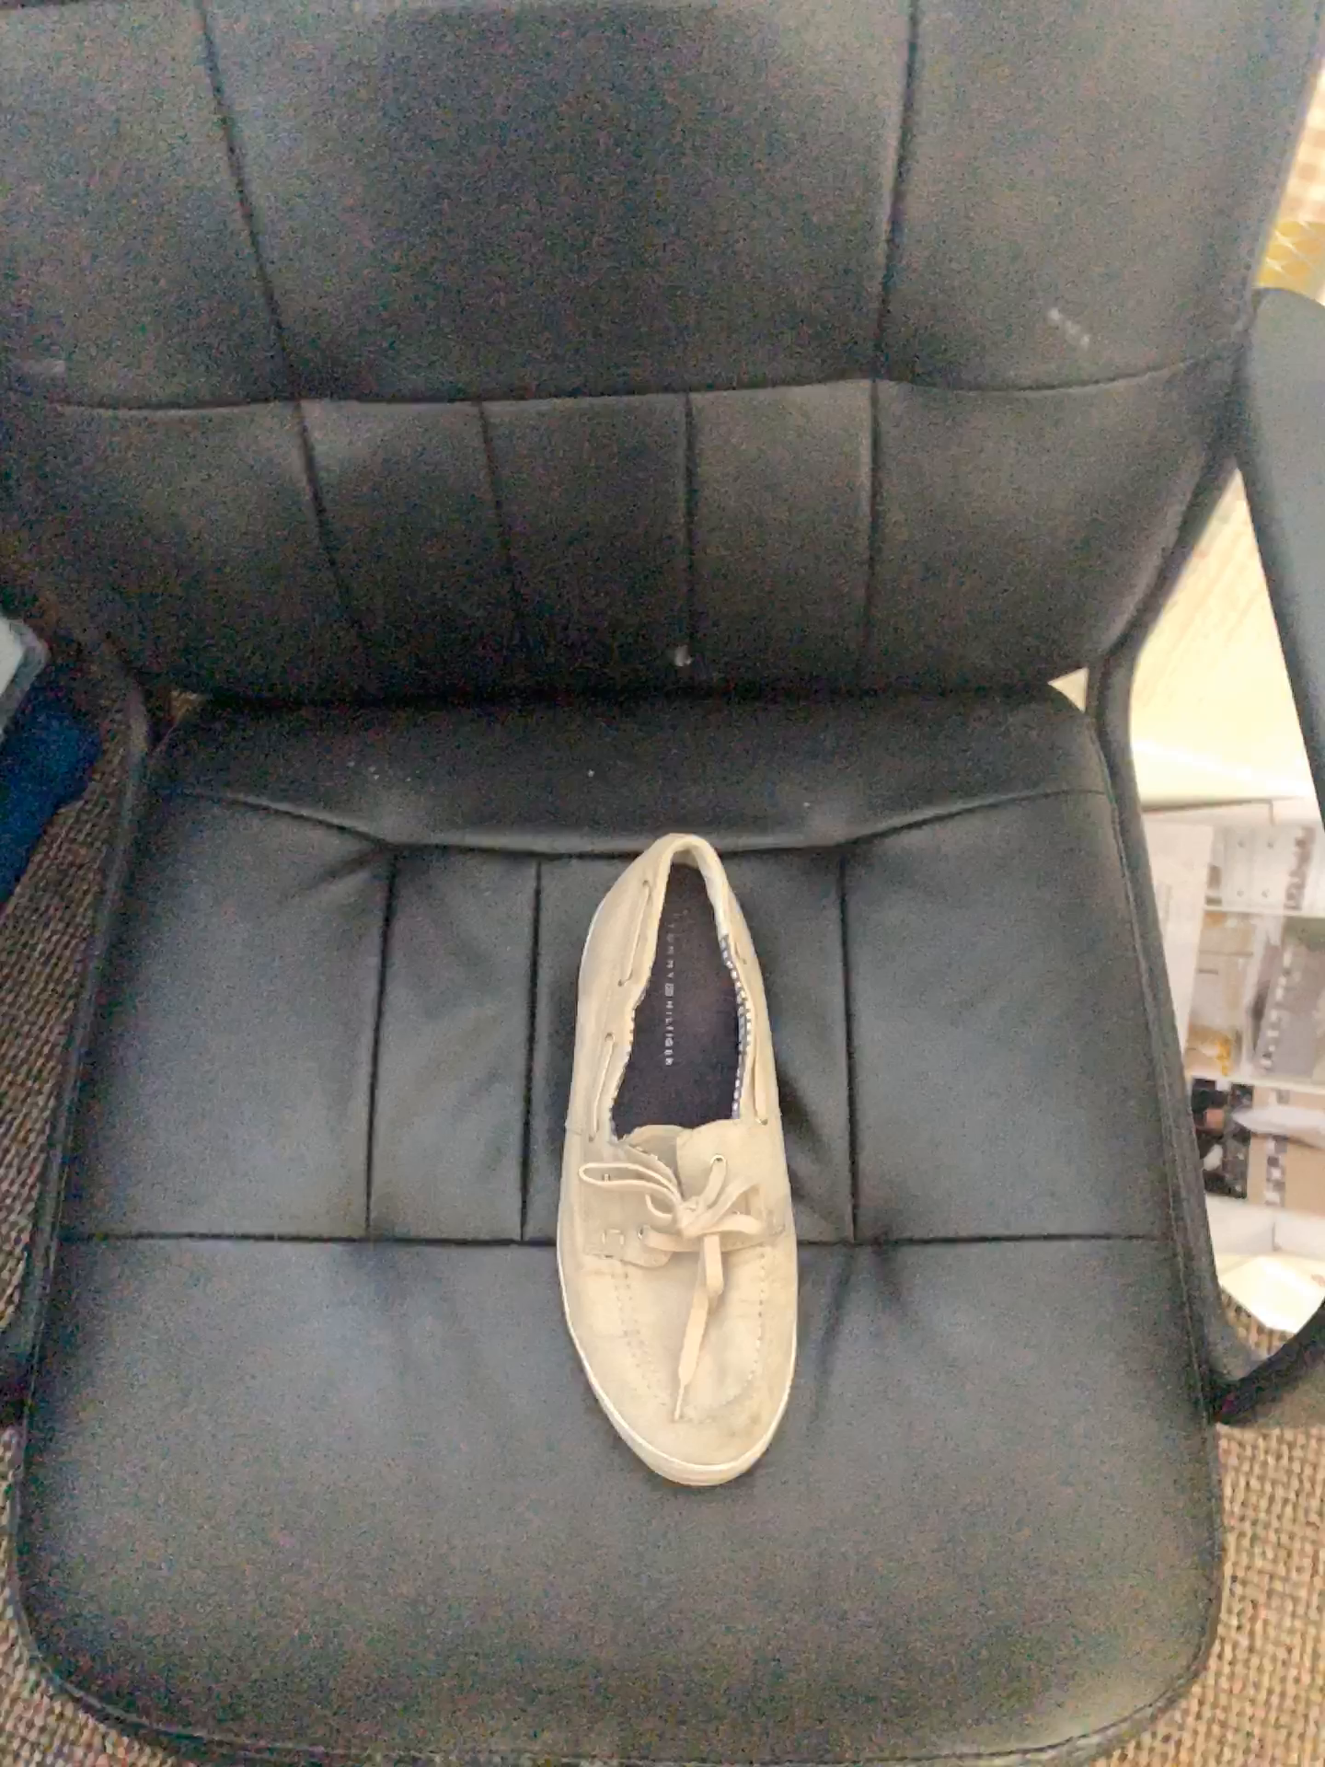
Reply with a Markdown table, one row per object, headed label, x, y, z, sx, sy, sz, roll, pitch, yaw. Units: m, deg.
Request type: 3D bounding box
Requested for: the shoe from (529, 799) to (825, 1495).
| label | x | y | z | sx | sy | sz | roll | pitch | yaw |
| --- | --- | --- | --- | --- | --- | --- | --- | --- | --- |
| shoe | 0.000 | 0.103 | 0.567 | 0.100 | 0.070 | 0.271 | -3 | 66 | -1 |
